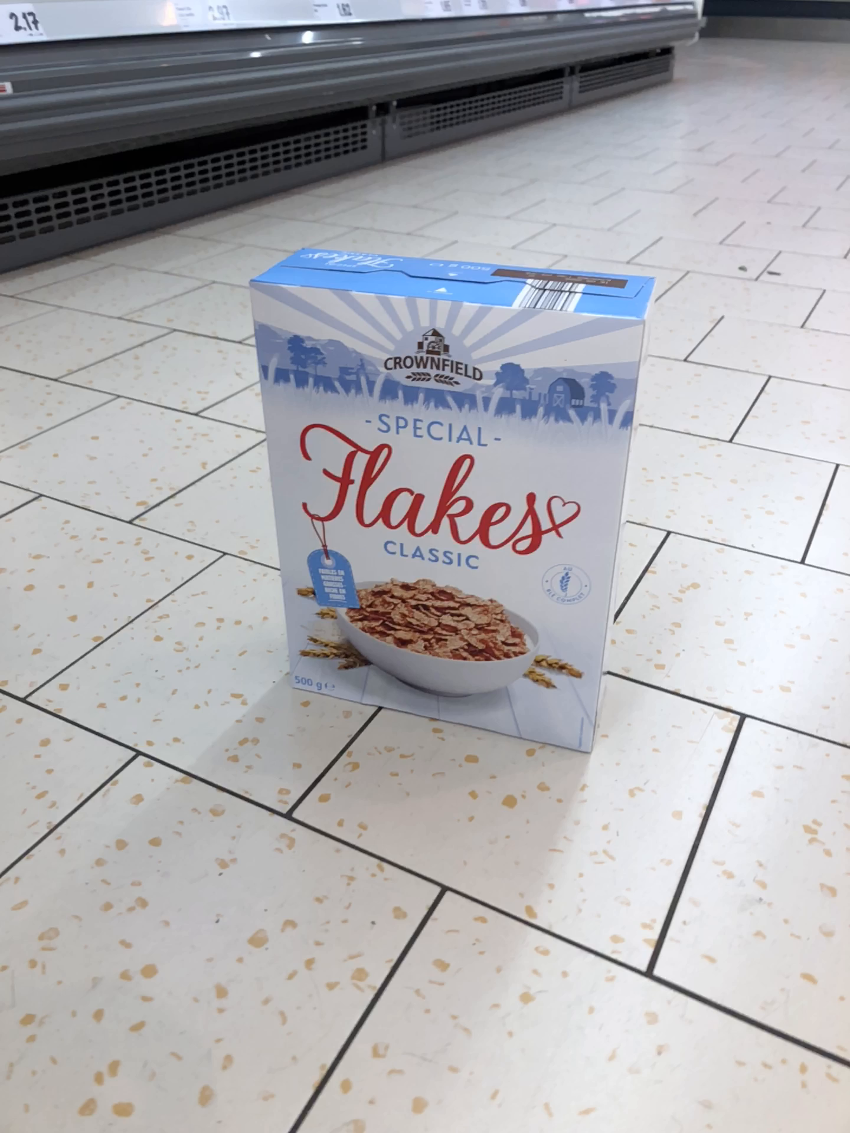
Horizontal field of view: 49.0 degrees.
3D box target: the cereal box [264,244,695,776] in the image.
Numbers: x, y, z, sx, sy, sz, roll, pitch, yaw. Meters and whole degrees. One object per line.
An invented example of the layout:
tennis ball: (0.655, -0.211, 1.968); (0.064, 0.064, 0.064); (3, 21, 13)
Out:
cereal box: (0.027, -0.029, 0.528); (0.200, 0.268, 0.070); (11, 33, 17)
